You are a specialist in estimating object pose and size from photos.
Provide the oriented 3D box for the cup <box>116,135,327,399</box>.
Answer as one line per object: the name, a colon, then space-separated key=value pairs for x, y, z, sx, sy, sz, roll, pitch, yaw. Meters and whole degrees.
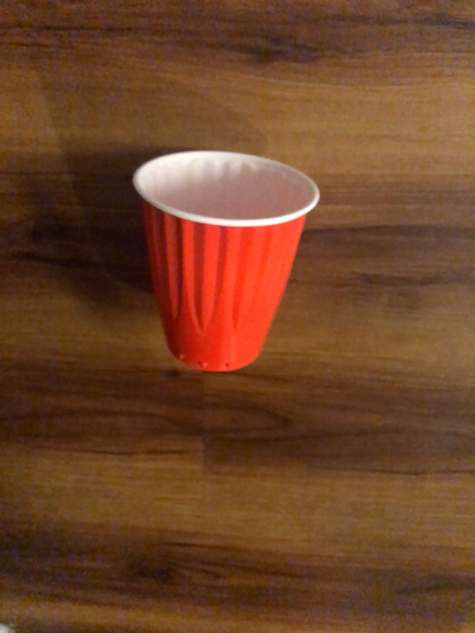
cup: x=-0.010 y=-0.031 z=0.317 sx=0.099 sy=0.089 sz=0.115 roll=9 pitch=124 yaw=1
